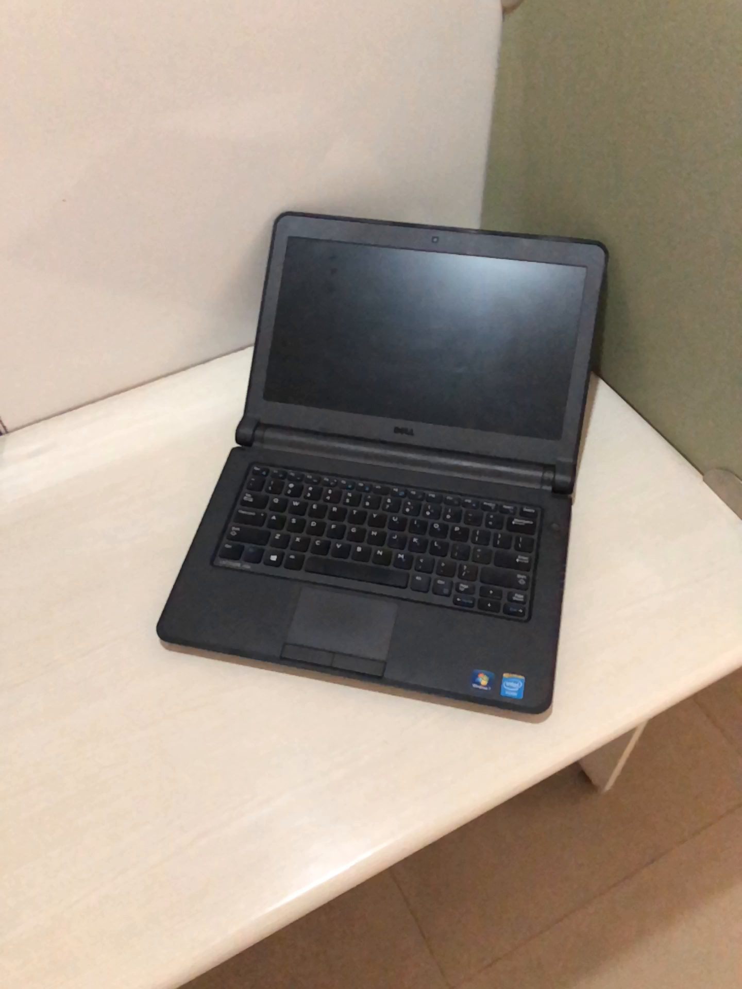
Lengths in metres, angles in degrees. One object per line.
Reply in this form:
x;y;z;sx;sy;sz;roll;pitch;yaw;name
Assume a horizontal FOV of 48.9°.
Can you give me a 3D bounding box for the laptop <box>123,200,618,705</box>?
0.026;-0.064;0.698;0.309;0.128;0.396;9;55;12;laptop
